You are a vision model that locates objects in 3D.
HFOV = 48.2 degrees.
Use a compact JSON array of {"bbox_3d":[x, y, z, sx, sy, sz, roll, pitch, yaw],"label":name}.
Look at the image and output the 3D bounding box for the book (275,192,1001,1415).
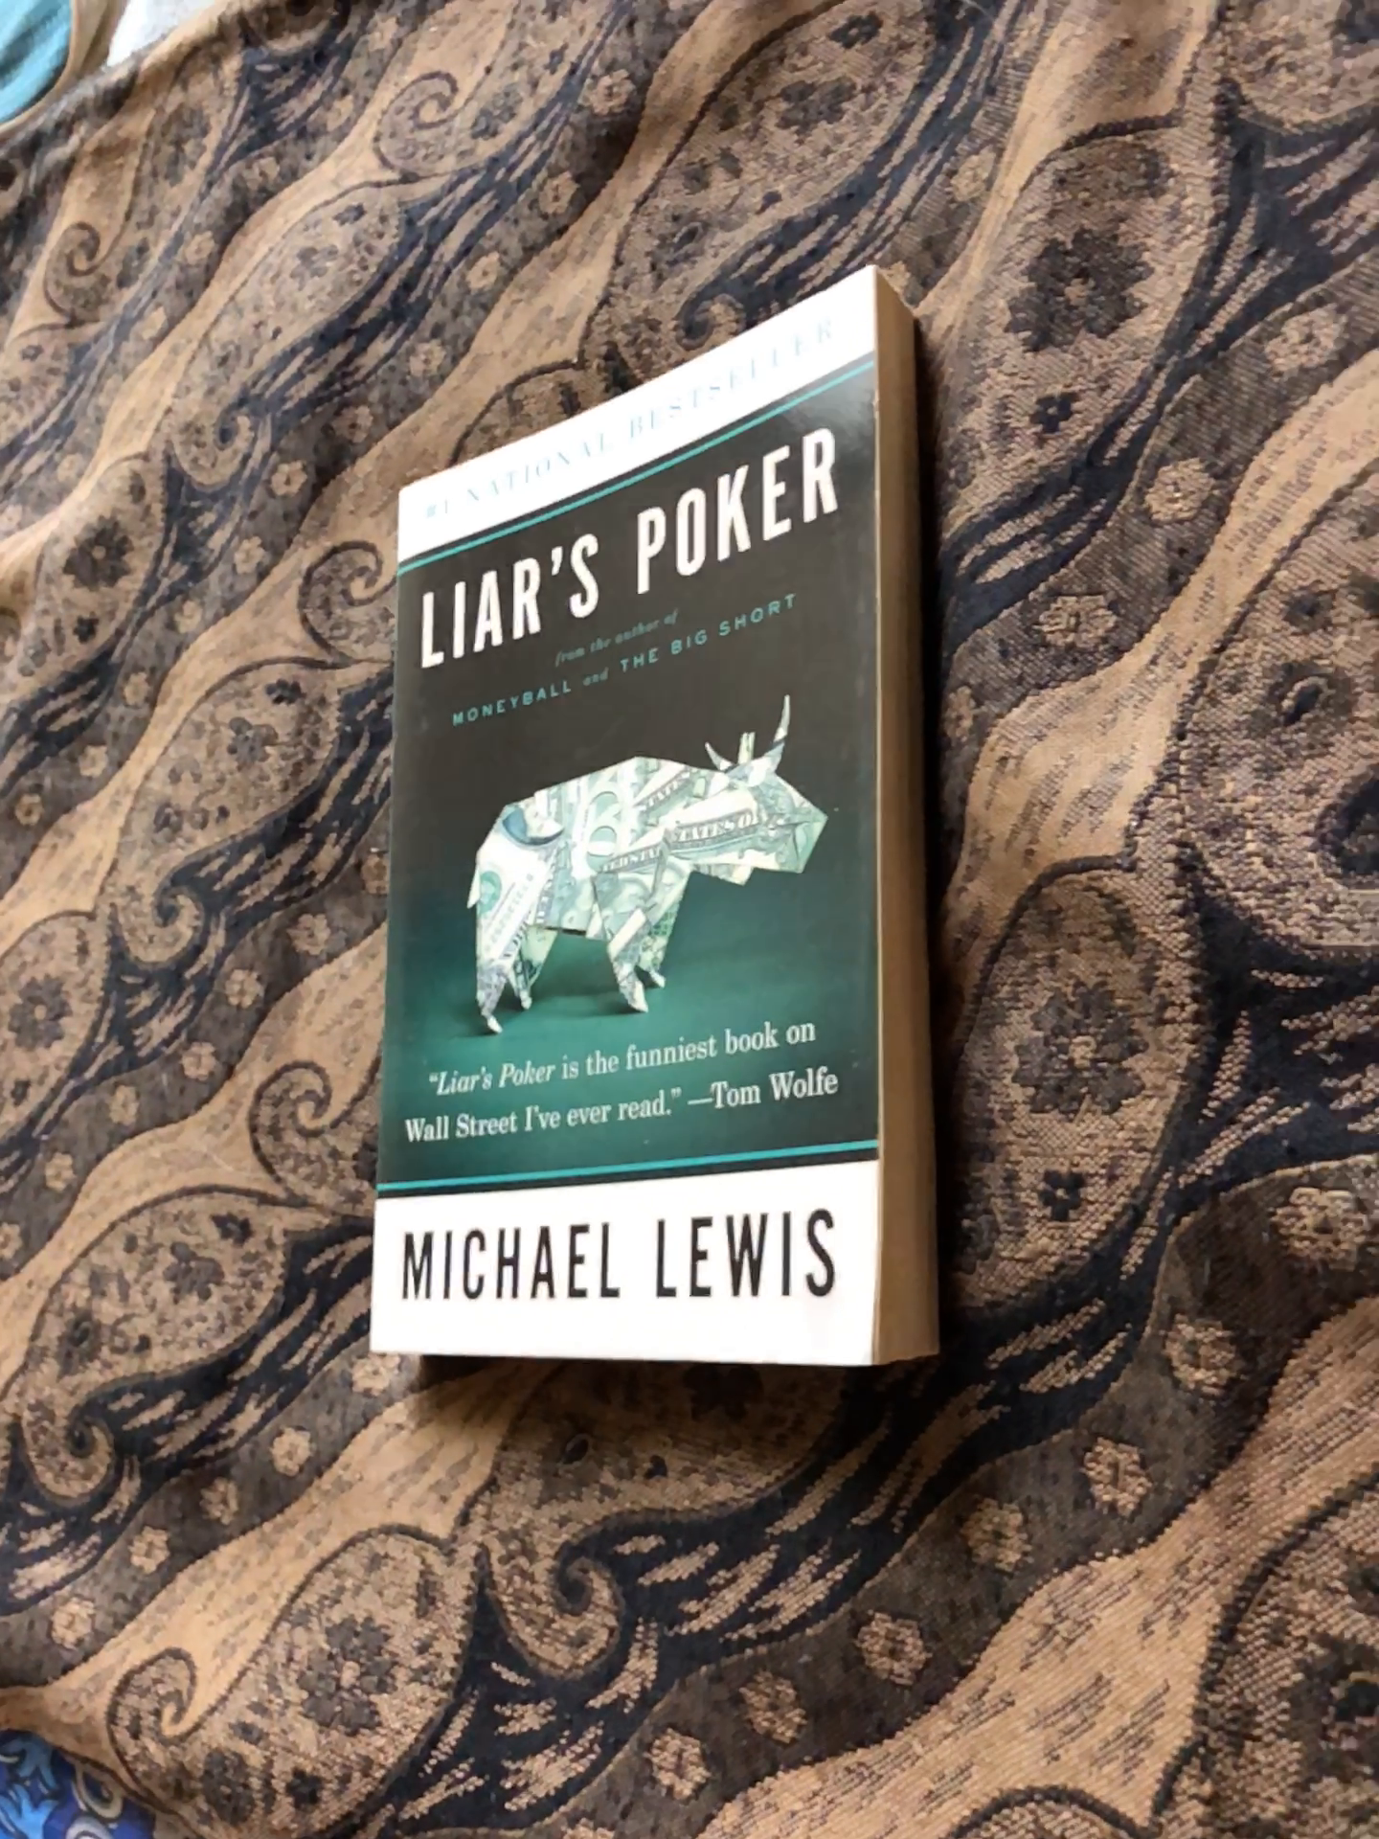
[{"bbox_3d":[-0.016,-0.015,0.317,0.151,0.040,0.210,-9,74,39],"label":"book"}]
